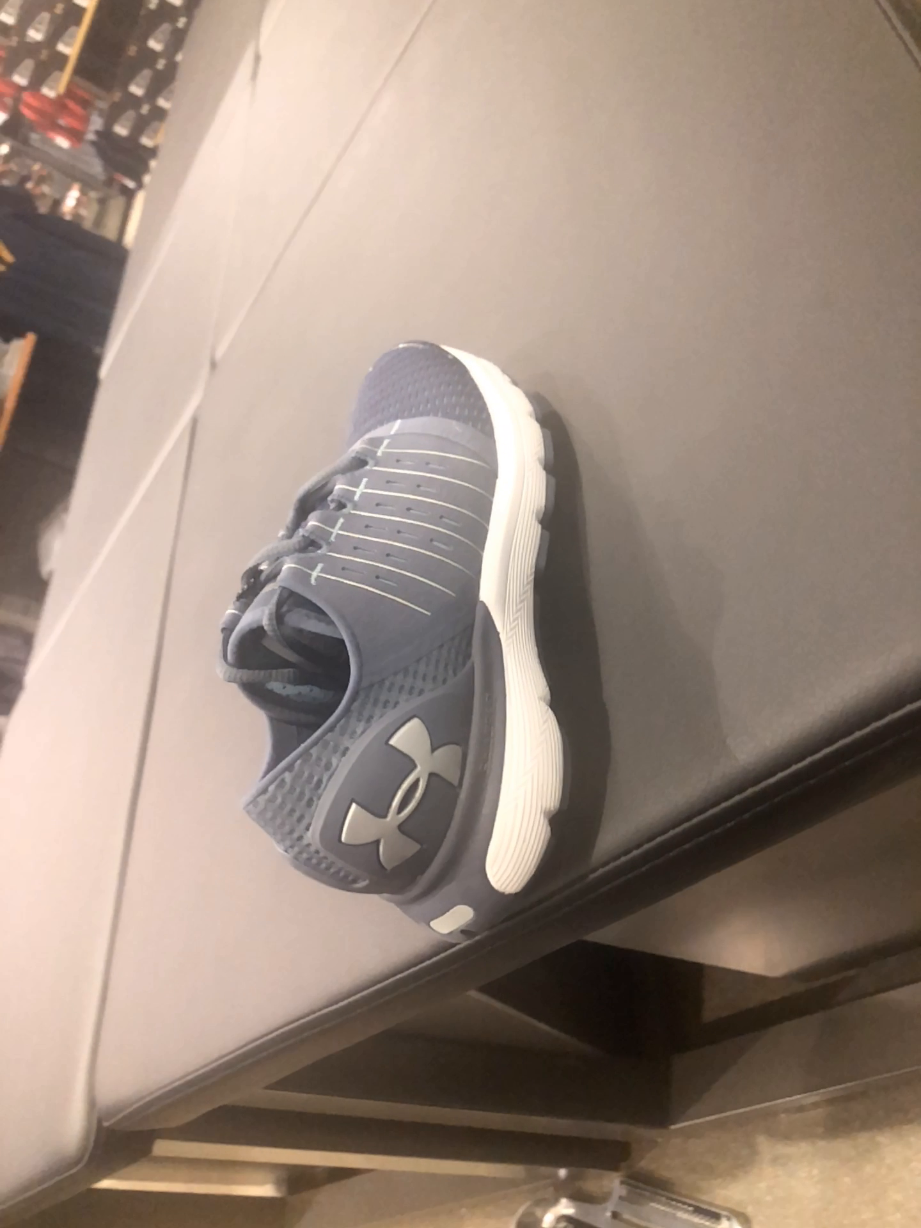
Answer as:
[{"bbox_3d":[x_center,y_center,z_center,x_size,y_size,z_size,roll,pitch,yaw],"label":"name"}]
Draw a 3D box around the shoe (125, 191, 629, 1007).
[{"bbox_3d":[-0.032,-0.011,0.370,0.120,0.097,0.255,-42,38,41],"label":"shoe"}]
